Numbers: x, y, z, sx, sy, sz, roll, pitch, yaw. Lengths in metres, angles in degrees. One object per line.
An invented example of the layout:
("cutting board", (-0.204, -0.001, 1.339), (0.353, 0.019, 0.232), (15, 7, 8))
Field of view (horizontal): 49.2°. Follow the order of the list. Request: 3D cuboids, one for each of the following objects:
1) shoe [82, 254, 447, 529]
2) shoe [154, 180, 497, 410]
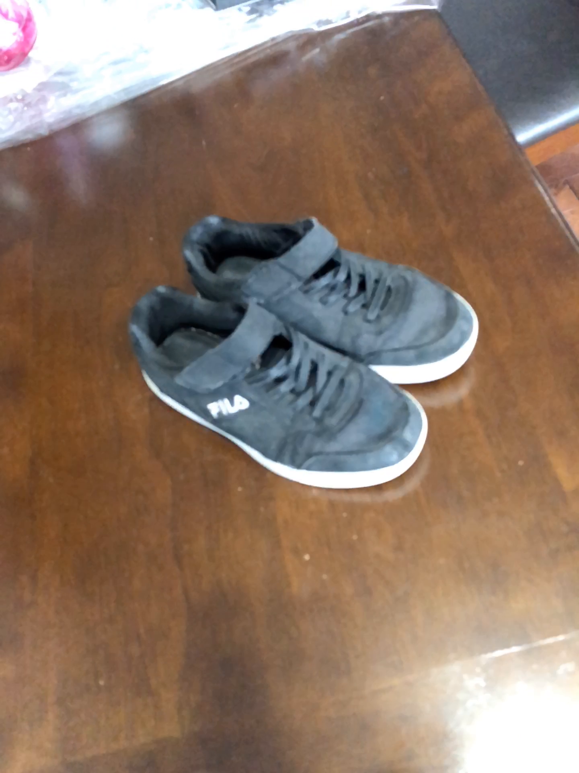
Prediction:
("shoe", (-0.015, -0.002, 0.416), (0.210, 0.080, 0.090), (21, 69, 24))
("shoe", (0.026, -0.069, 0.450), (0.210, 0.080, 0.090), (17, 67, 22))
